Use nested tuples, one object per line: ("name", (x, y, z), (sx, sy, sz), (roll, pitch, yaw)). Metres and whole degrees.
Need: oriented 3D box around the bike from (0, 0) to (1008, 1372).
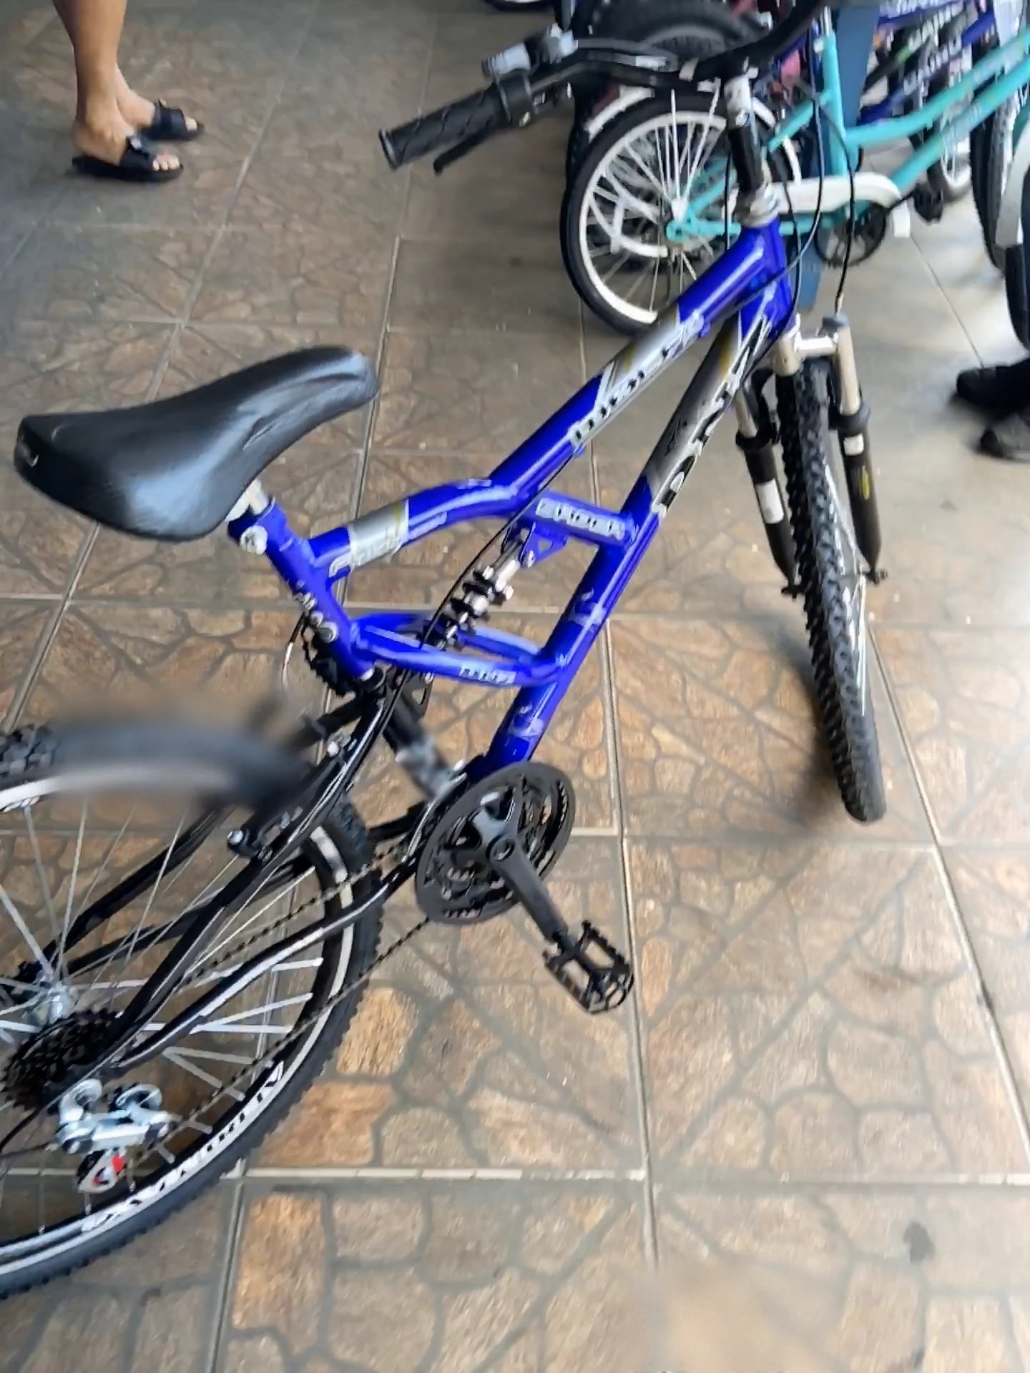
("bike", (-0.209, -0.132, 1.203), (1.615, 1.020, 0.515), (-35, 56, -29))
